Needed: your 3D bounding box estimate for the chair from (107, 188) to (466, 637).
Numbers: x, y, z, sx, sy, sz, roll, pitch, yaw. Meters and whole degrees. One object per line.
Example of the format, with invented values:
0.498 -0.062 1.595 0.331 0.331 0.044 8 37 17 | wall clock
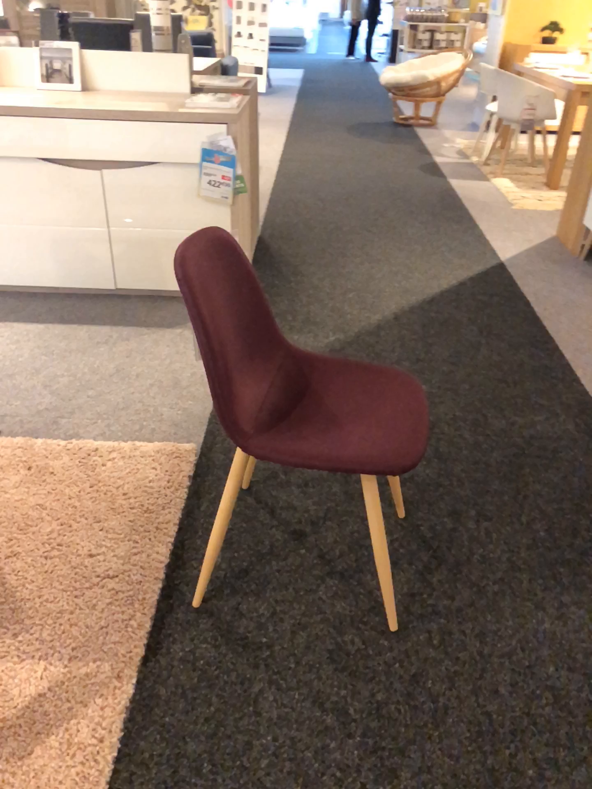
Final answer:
0.001 0.028 1.415 0.570 0.795 0.473 6 31 7 | chair
